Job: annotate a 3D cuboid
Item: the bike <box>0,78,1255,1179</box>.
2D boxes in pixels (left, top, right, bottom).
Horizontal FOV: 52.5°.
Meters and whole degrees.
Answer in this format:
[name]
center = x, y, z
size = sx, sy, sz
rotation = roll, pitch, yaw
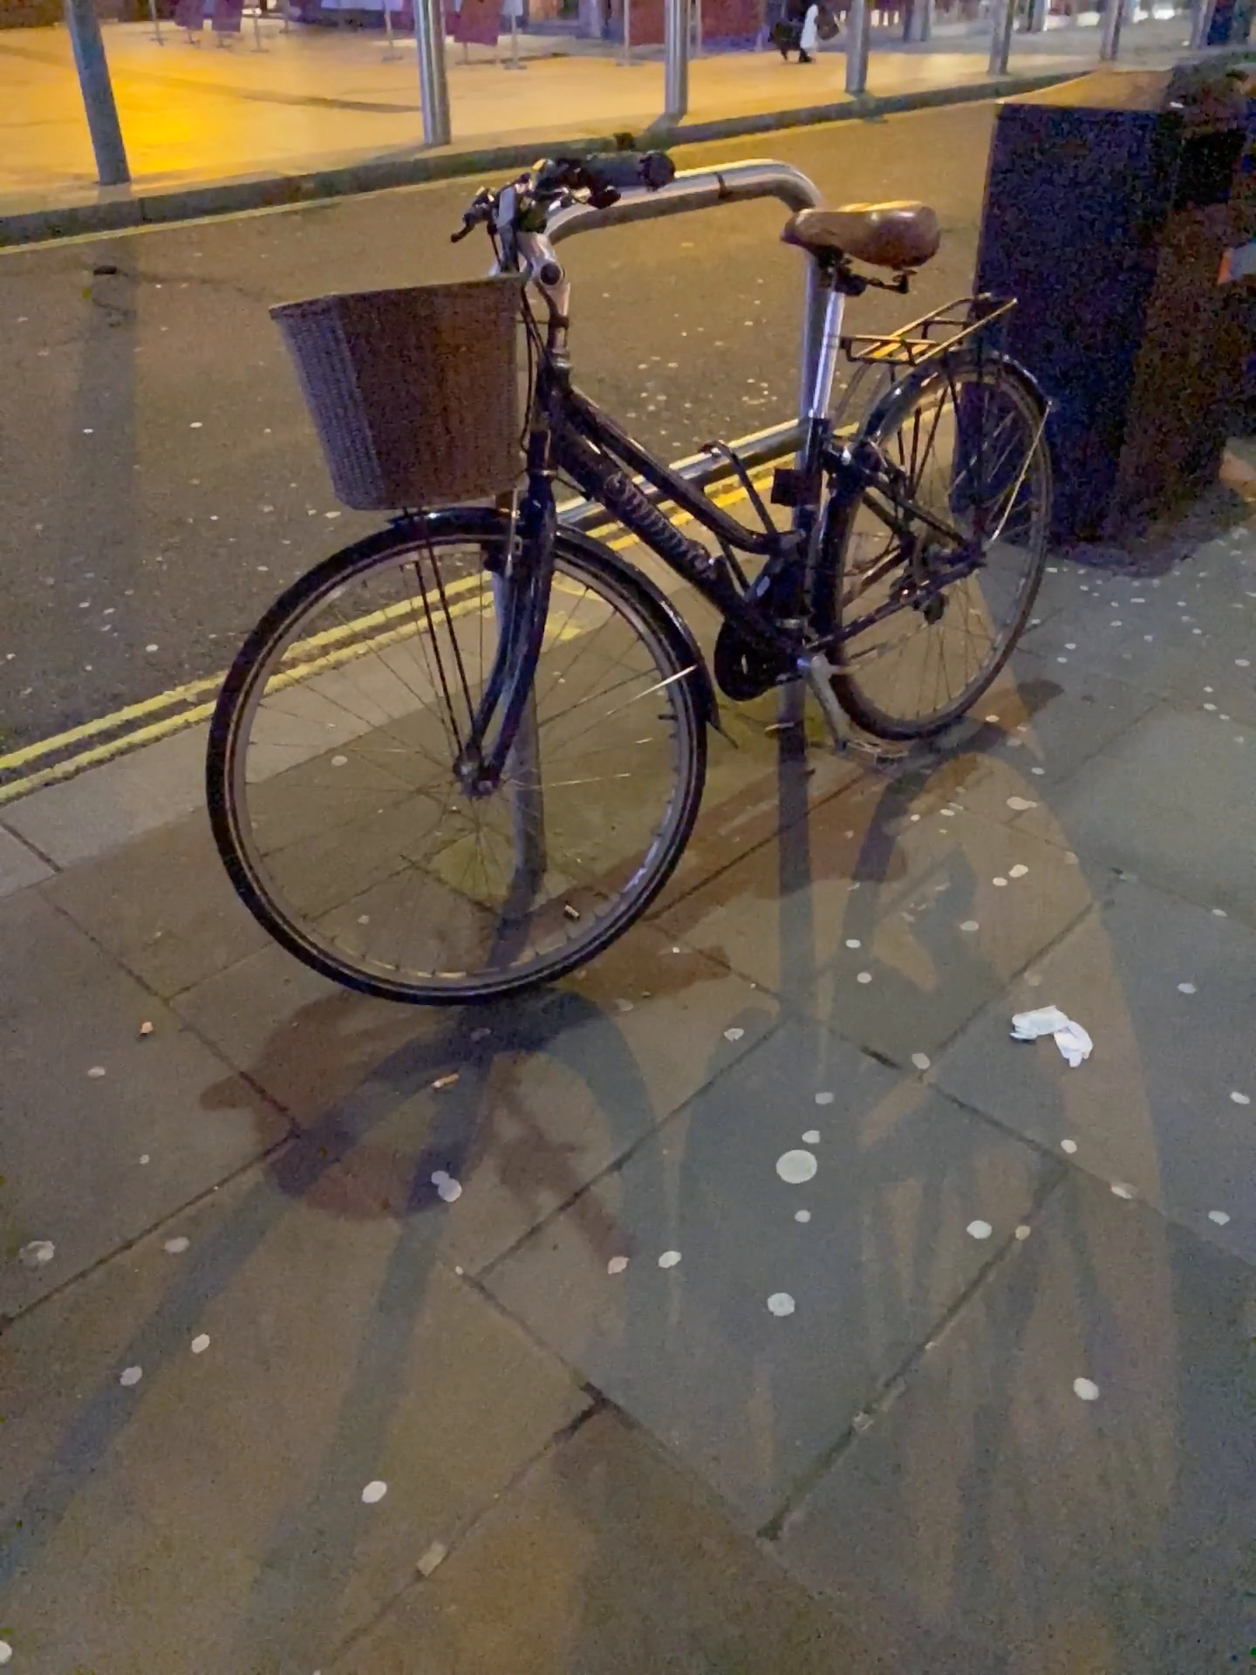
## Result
[bike]
center = 0.129, -0.475, 2.006
size = 1.715, 1.063, 0.662
rotation = -27, 42, -30
